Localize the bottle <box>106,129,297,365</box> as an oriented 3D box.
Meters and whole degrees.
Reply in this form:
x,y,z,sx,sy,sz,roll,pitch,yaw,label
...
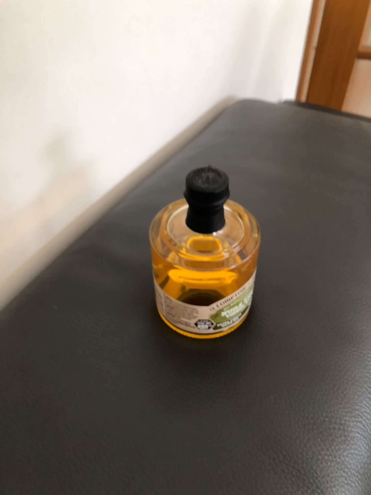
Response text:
x,y,z,sx,sy,sz,roll,pitch,yaw,label
0.011,-0.001,0.320,0.090,0.129,0.091,0,43,0,bottle
